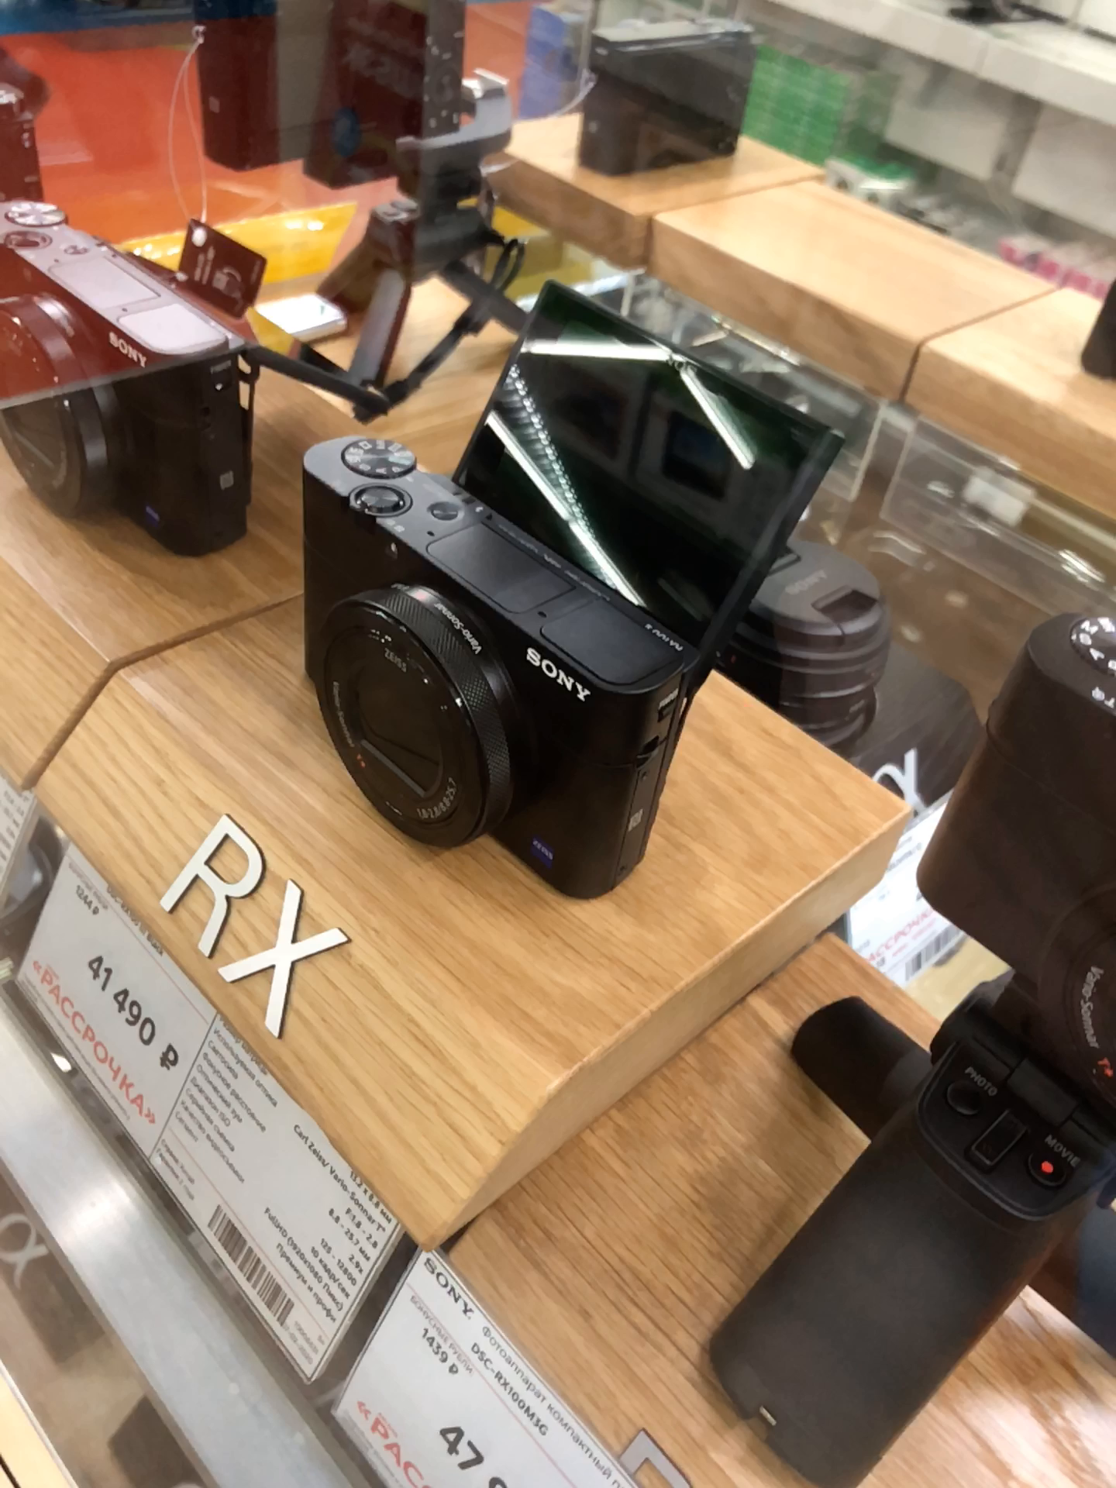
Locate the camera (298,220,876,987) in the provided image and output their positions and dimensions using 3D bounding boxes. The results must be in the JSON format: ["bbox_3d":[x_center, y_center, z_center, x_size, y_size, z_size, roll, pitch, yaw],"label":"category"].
[{"bbox_3d":[-0.005,-0.030,0.265,0.050,0.119,0.100,-28,54,-36],"label":"camera"}]

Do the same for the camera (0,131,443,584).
[{"bbox_3d":[-0.103,-0.112,0.341,0.097,0.067,0.101,-28,54,-36],"label":"camera"}]
